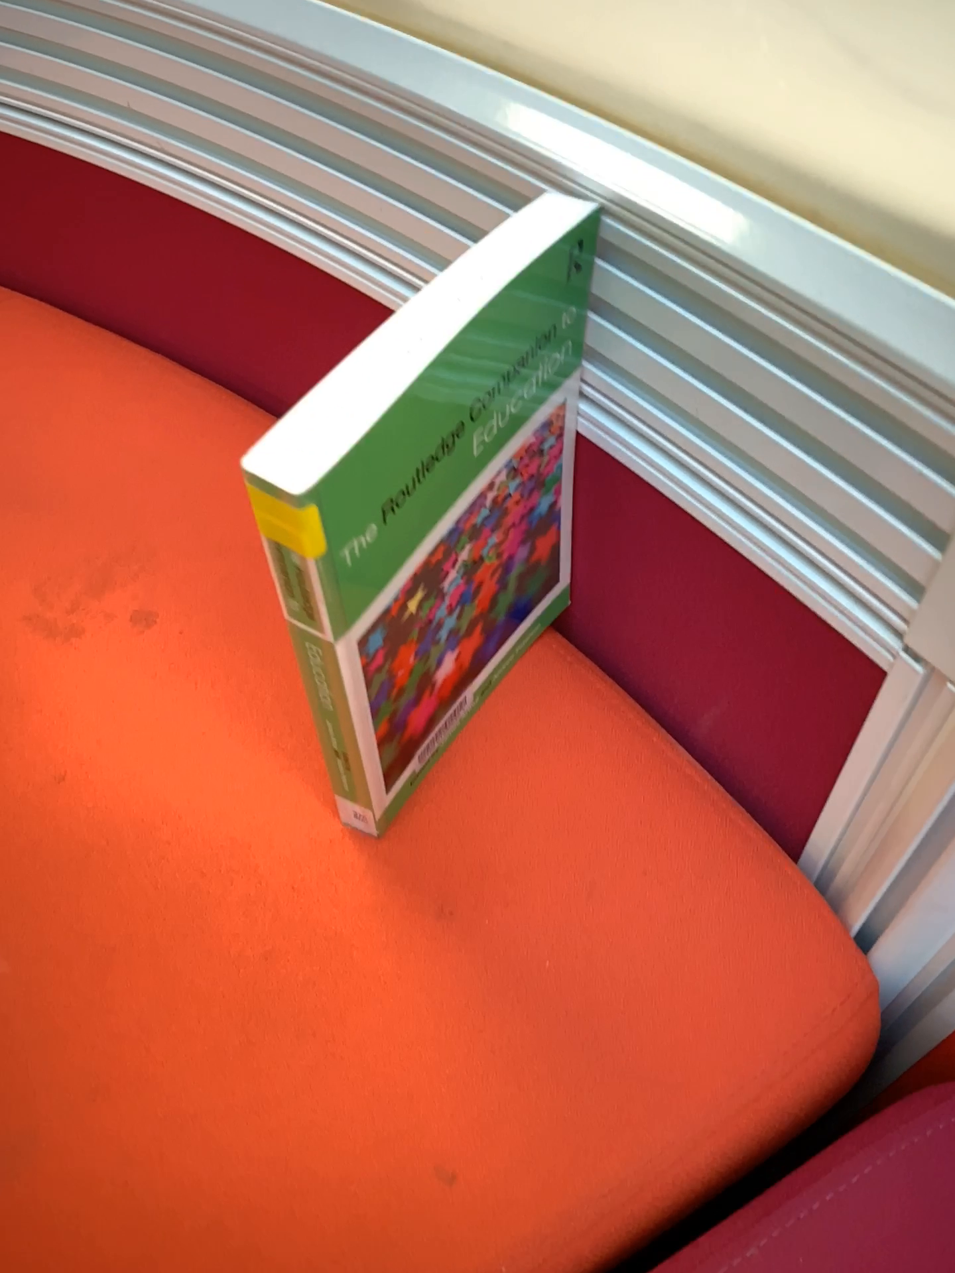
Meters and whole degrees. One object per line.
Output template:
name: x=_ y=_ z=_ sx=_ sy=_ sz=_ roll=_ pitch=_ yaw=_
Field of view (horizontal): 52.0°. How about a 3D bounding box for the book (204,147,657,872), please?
book: x=-0.005 y=-0.036 z=0.436 sx=0.040 sy=0.268 sz=0.201 roll=29 pitch=60 yaw=20
